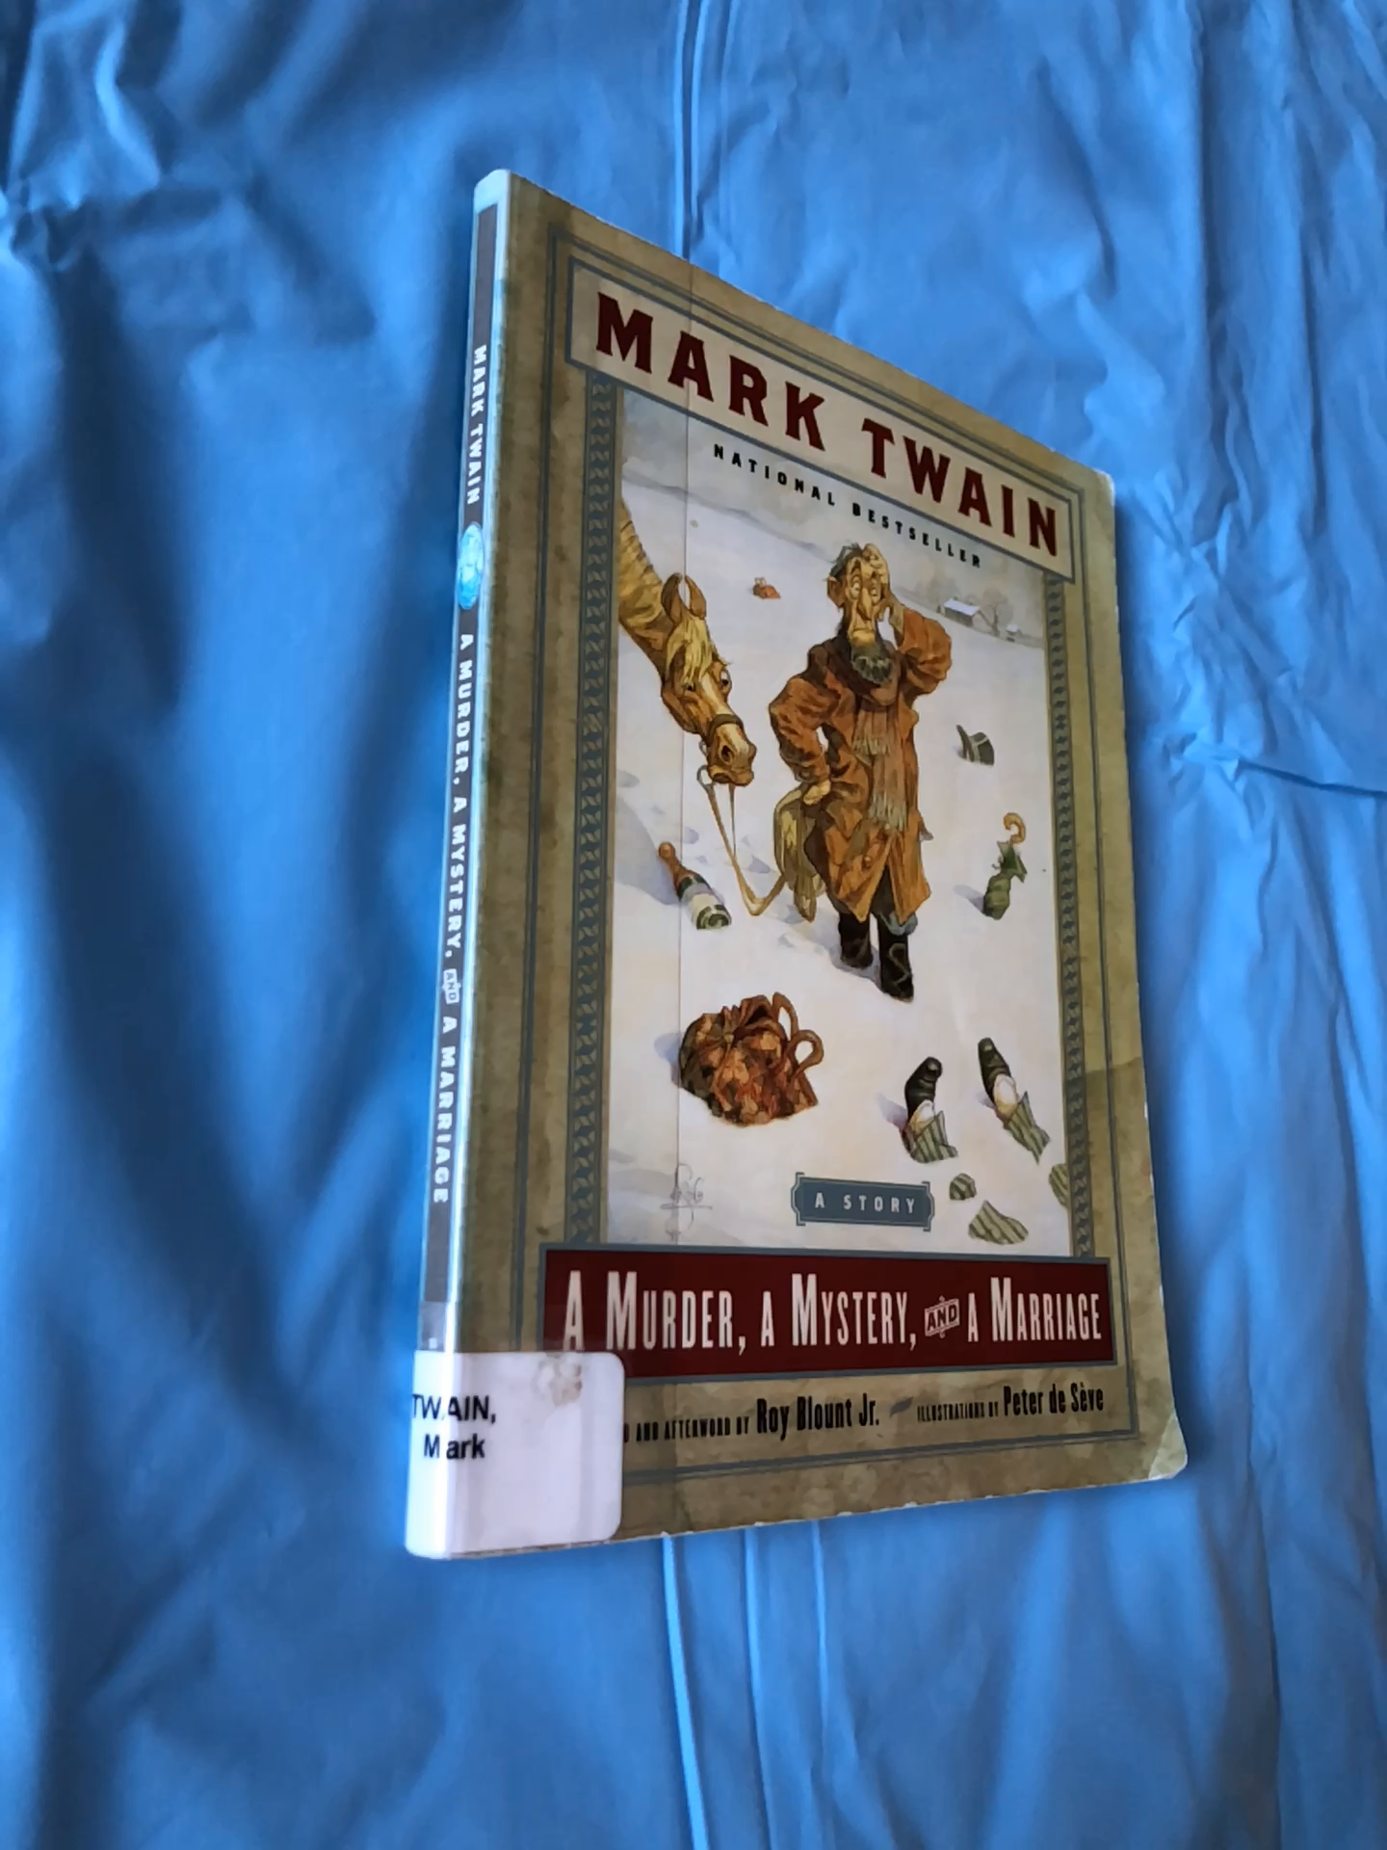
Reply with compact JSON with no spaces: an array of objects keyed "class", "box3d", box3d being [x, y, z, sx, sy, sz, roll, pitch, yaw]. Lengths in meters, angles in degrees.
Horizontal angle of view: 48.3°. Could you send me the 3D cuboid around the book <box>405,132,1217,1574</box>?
[{"class":"book","box3d":[0.030,-0.008,0.274,0.161,0.020,0.210,10,74,-38]}]
